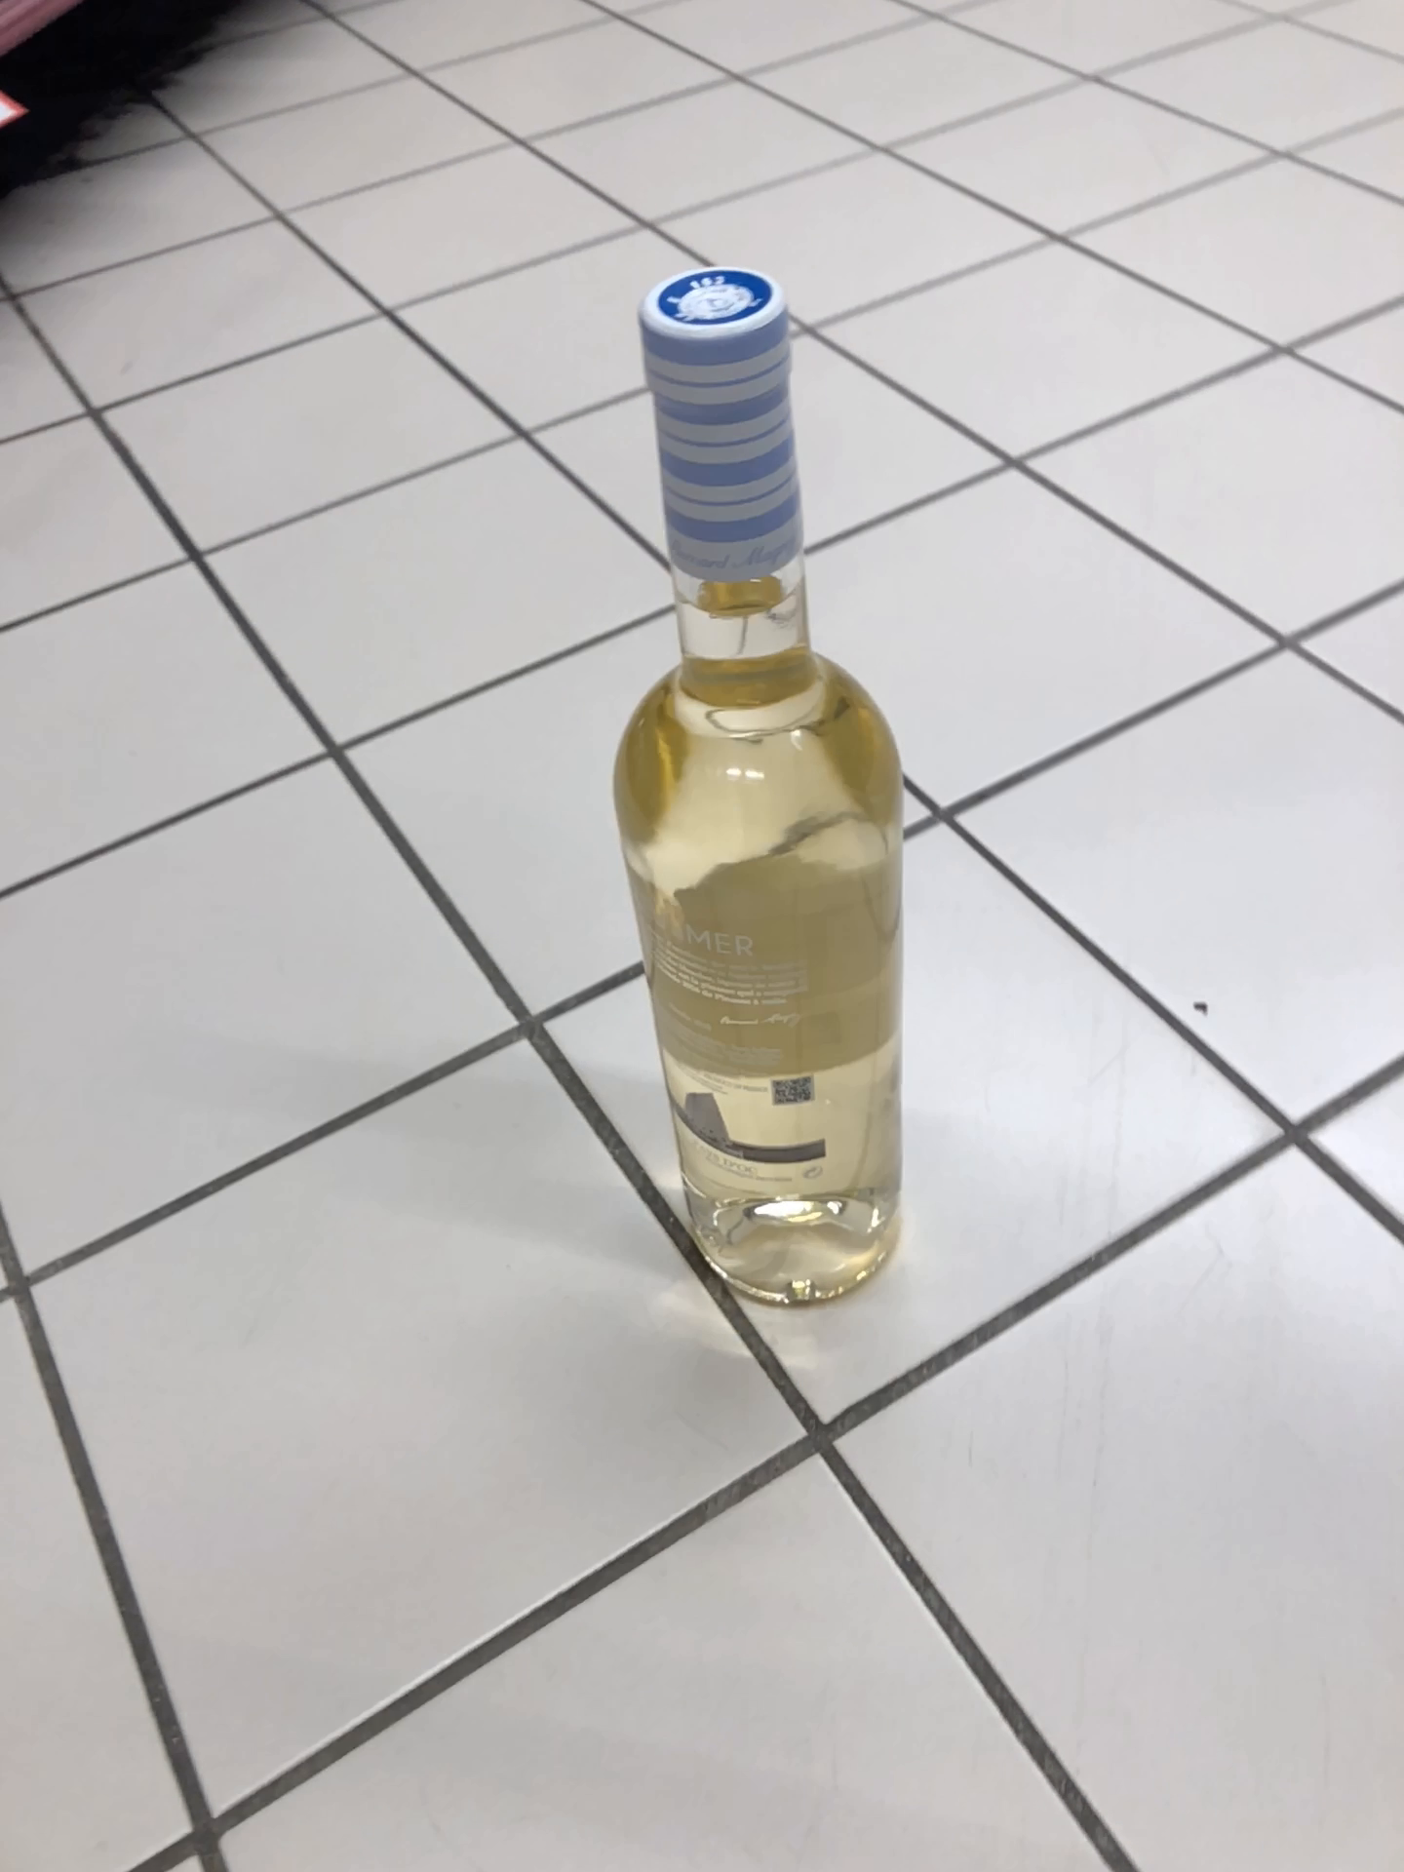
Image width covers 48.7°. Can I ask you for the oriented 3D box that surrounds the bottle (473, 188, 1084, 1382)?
[{"bbox_3d":[0.026,-0.011,0.398,0.080,0.308,0.080,-3,47,3],"label":"bottle"}]
